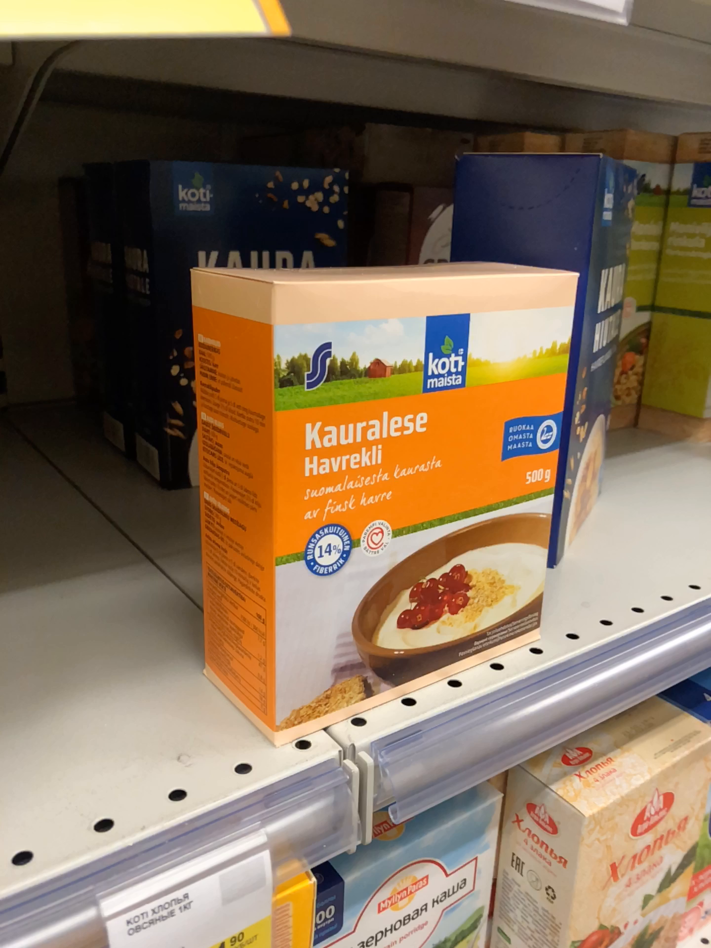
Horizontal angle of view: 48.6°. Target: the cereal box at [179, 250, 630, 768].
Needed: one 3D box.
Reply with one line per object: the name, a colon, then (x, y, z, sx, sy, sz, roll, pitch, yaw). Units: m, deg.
cereal box: (0.021, -0.001, 0.321, 0.160, 0.169, 0.070, -11, 22, -34)
